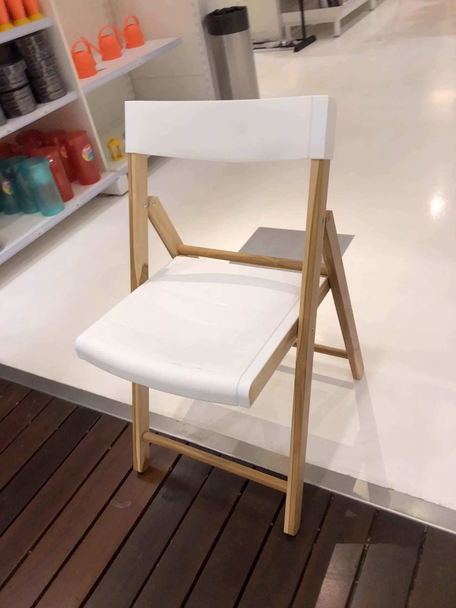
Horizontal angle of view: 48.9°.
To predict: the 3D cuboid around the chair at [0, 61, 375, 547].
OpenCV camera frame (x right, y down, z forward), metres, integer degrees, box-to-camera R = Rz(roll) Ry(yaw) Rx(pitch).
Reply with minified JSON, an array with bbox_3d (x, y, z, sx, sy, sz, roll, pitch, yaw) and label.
[{"bbox_3d":[-0.019,-0.008,1.025,0.471,0.735,0.513,11,45,29],"label":"chair"}]
